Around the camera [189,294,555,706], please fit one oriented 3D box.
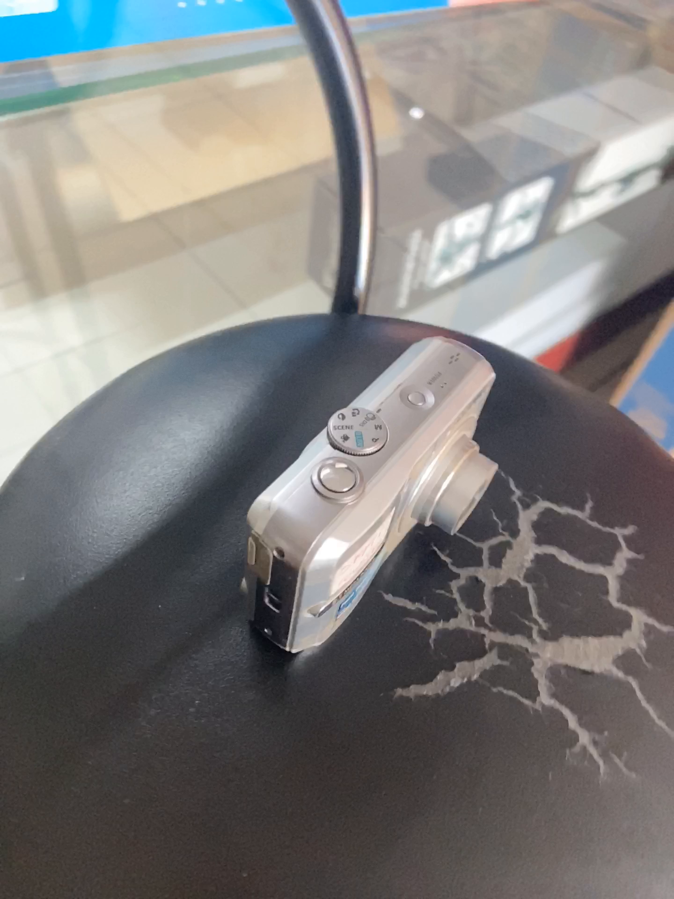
[{"bbox_3d":[0.011,0.011,0.210,0.050,0.060,0.100,34,53,17],"label":"camera"}]
